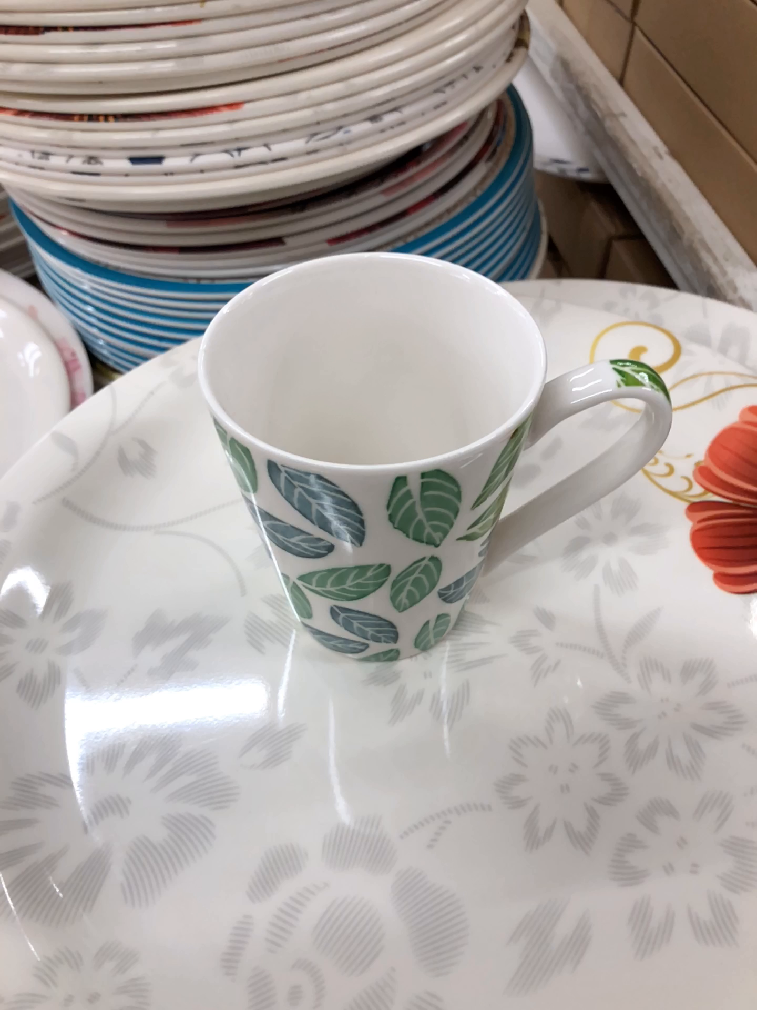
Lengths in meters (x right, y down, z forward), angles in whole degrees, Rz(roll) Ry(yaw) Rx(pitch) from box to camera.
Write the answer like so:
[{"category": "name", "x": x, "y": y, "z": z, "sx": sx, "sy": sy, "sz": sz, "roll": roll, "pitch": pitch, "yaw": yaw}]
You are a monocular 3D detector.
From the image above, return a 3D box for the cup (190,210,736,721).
[{"category": "cup", "x": 0.015, "y": -0.008, "z": 0.255, "sx": 0.120, "sy": 0.119, "sz": 0.080, "roll": -7, "pitch": 50, "yaw": -6}]
